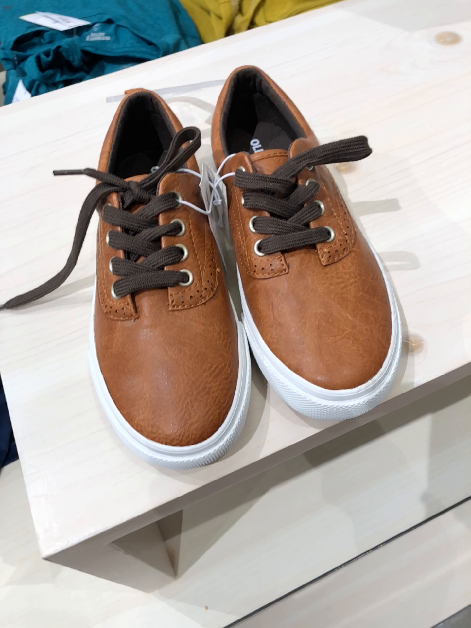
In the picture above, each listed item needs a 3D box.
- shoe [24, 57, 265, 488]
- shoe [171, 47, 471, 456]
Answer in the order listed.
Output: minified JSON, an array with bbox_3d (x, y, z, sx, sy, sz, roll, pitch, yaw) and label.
[{"bbox_3d":[-0.048,-0.032,0.294,0.090,0.090,0.220,-9,57,-1],"label":"shoe"},{"bbox_3d":[0.030,-0.044,0.292,0.090,0.080,0.210,-12,58,-4],"label":"shoe"}]
